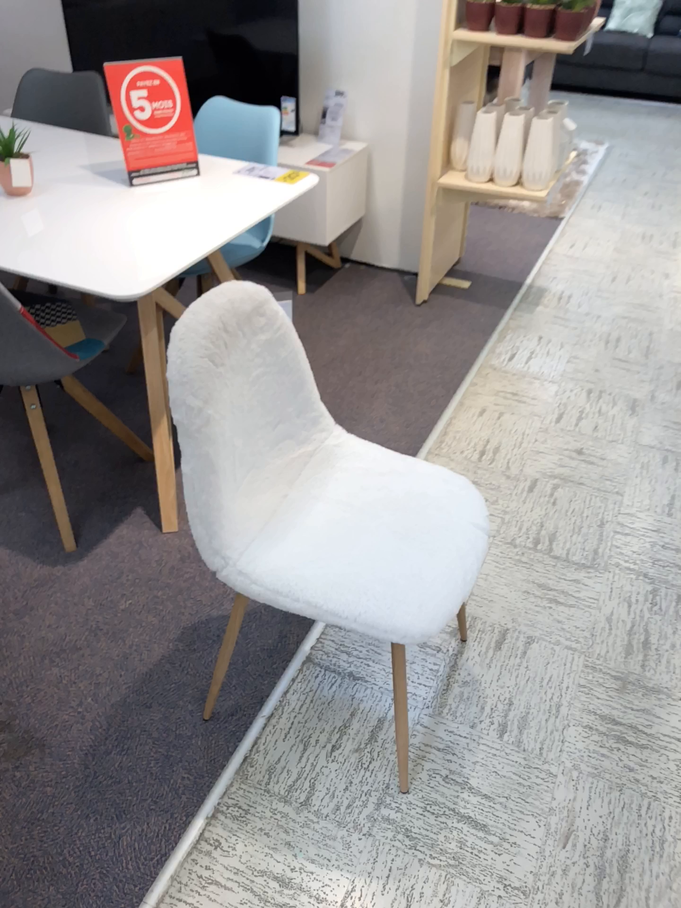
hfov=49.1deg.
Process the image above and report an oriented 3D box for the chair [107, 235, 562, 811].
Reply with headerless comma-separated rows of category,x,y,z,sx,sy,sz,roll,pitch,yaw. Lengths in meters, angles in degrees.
chair,0.016,0.120,1.397,0.550,0.815,0.524,15,39,16
